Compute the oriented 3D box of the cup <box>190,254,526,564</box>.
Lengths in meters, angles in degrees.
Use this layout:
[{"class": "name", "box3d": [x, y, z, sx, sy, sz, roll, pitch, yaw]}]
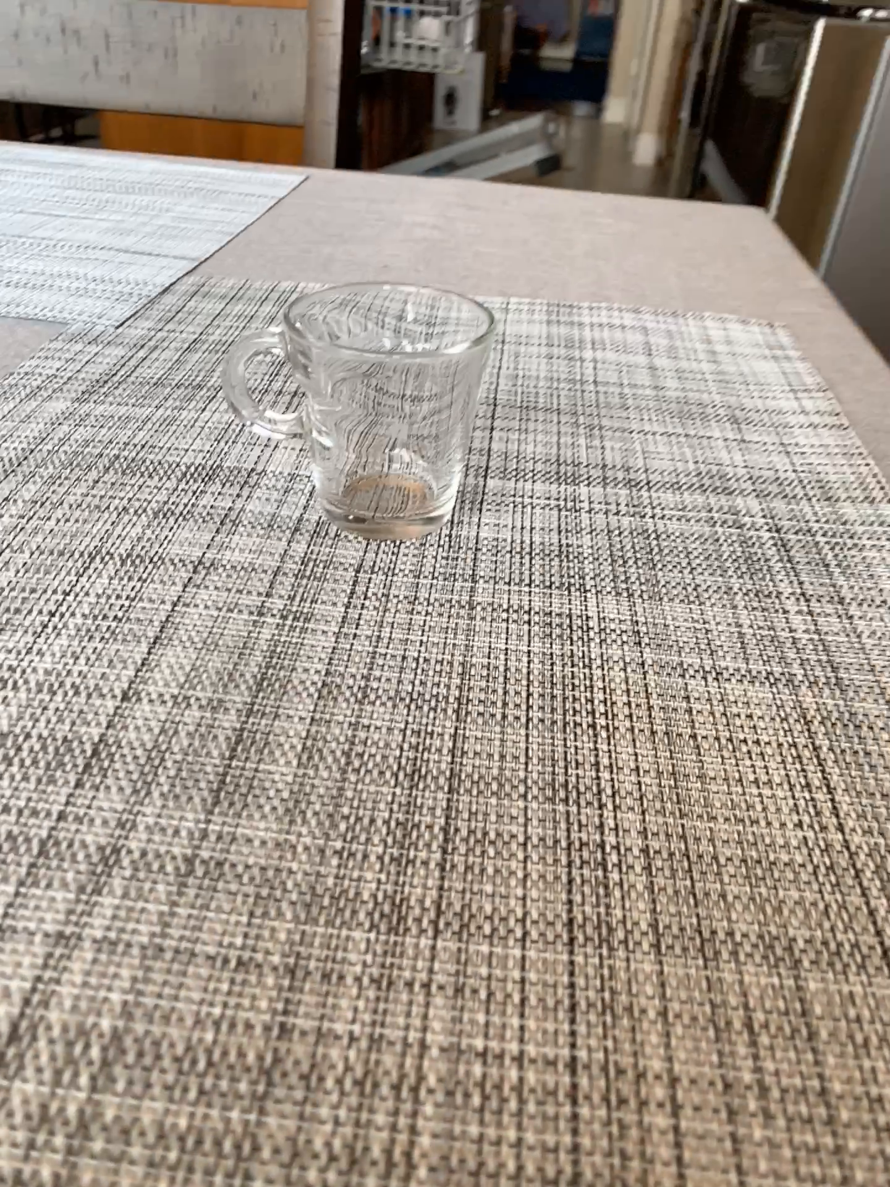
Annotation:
[{"class": "cup", "box3d": [-0.023, -0.055, 0.267, 0.083, 0.060, 0.058, 8, 36, 1]}]
